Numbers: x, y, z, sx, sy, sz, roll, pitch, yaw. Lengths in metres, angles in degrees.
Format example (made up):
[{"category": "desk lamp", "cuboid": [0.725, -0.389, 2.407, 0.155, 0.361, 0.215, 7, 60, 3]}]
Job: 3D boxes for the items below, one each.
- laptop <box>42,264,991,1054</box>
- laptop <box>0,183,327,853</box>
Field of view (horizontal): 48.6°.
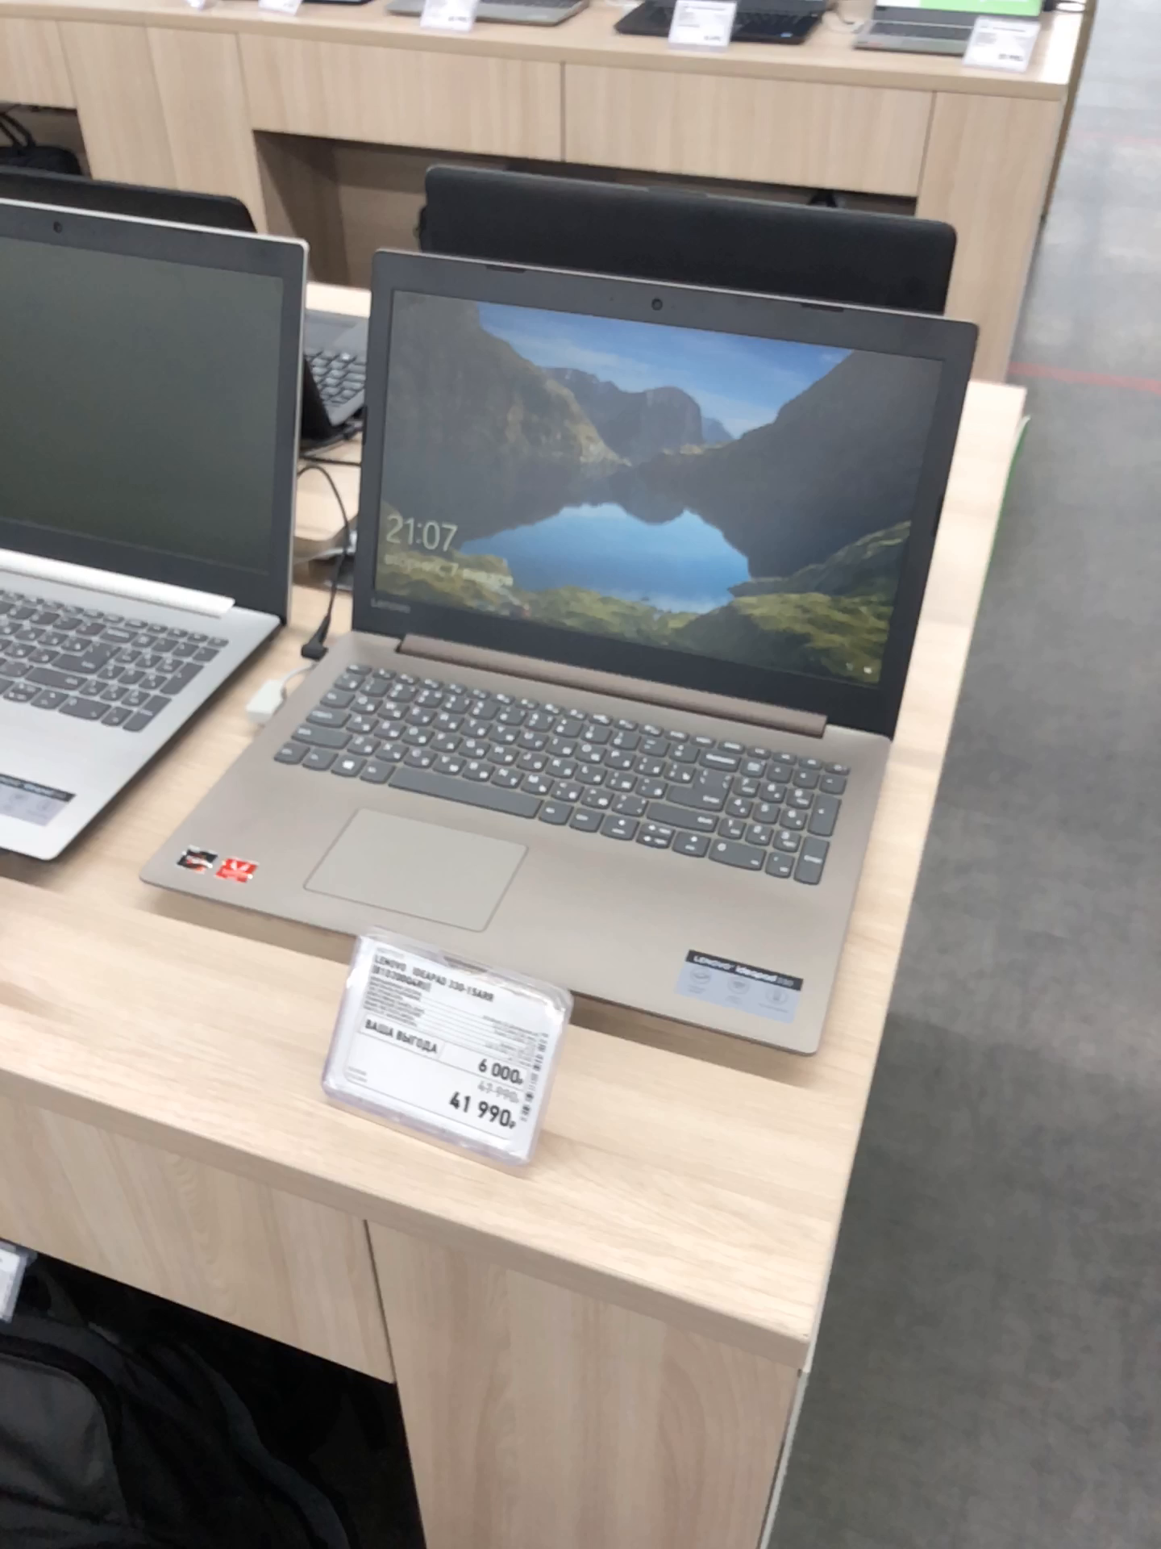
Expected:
[{"category": "laptop", "cuboid": [-0.004, -0.090, 0.676, 0.350, 0.209, 0.330, 12, 42, 15]}, {"category": "laptop", "cuboid": [-0.388, -0.179, 0.774, 0.343, 0.207, 0.324, 13, 42, 13]}]
